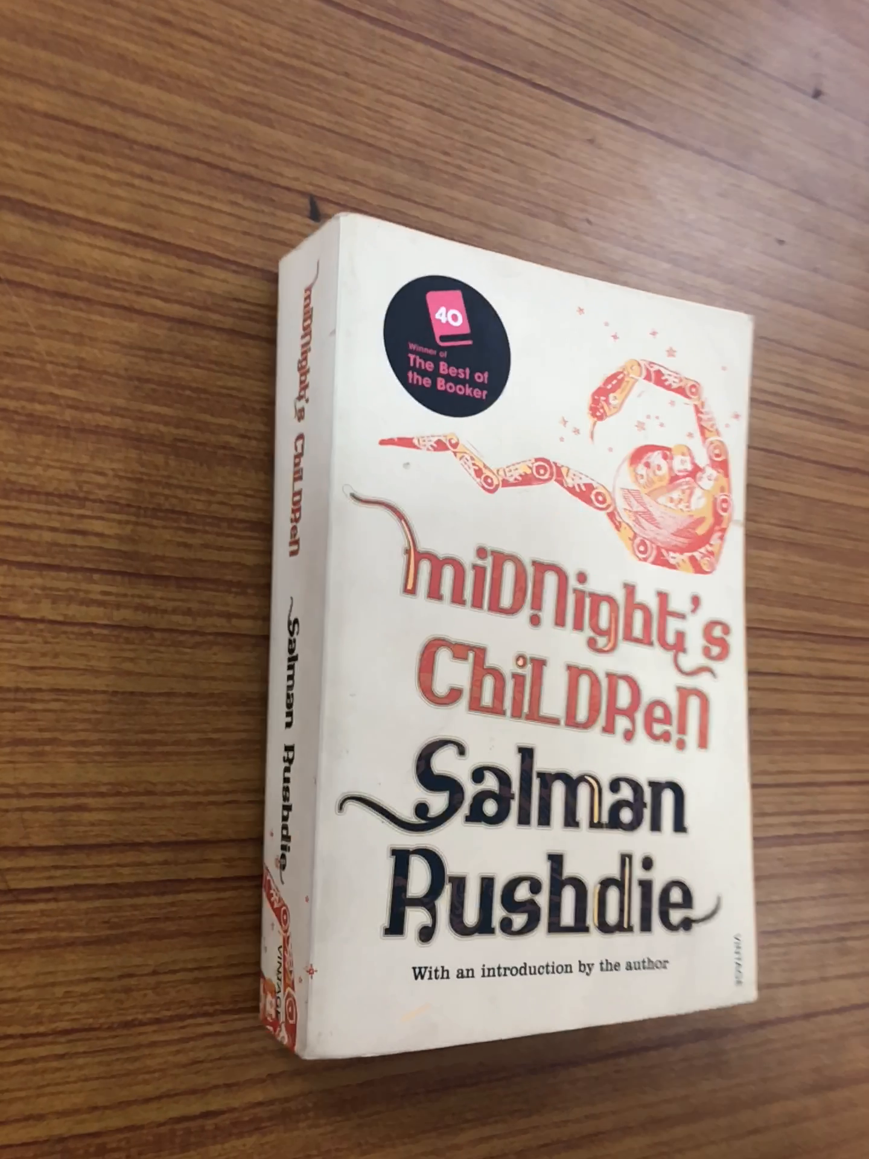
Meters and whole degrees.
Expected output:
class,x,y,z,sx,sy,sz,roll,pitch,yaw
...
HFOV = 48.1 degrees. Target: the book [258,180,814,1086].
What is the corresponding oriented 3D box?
class,x,y,z,sx,sy,sz,roll,pitch,yaw
book,0.030,0.013,0.262,0.140,0.040,0.200,5,80,-26
